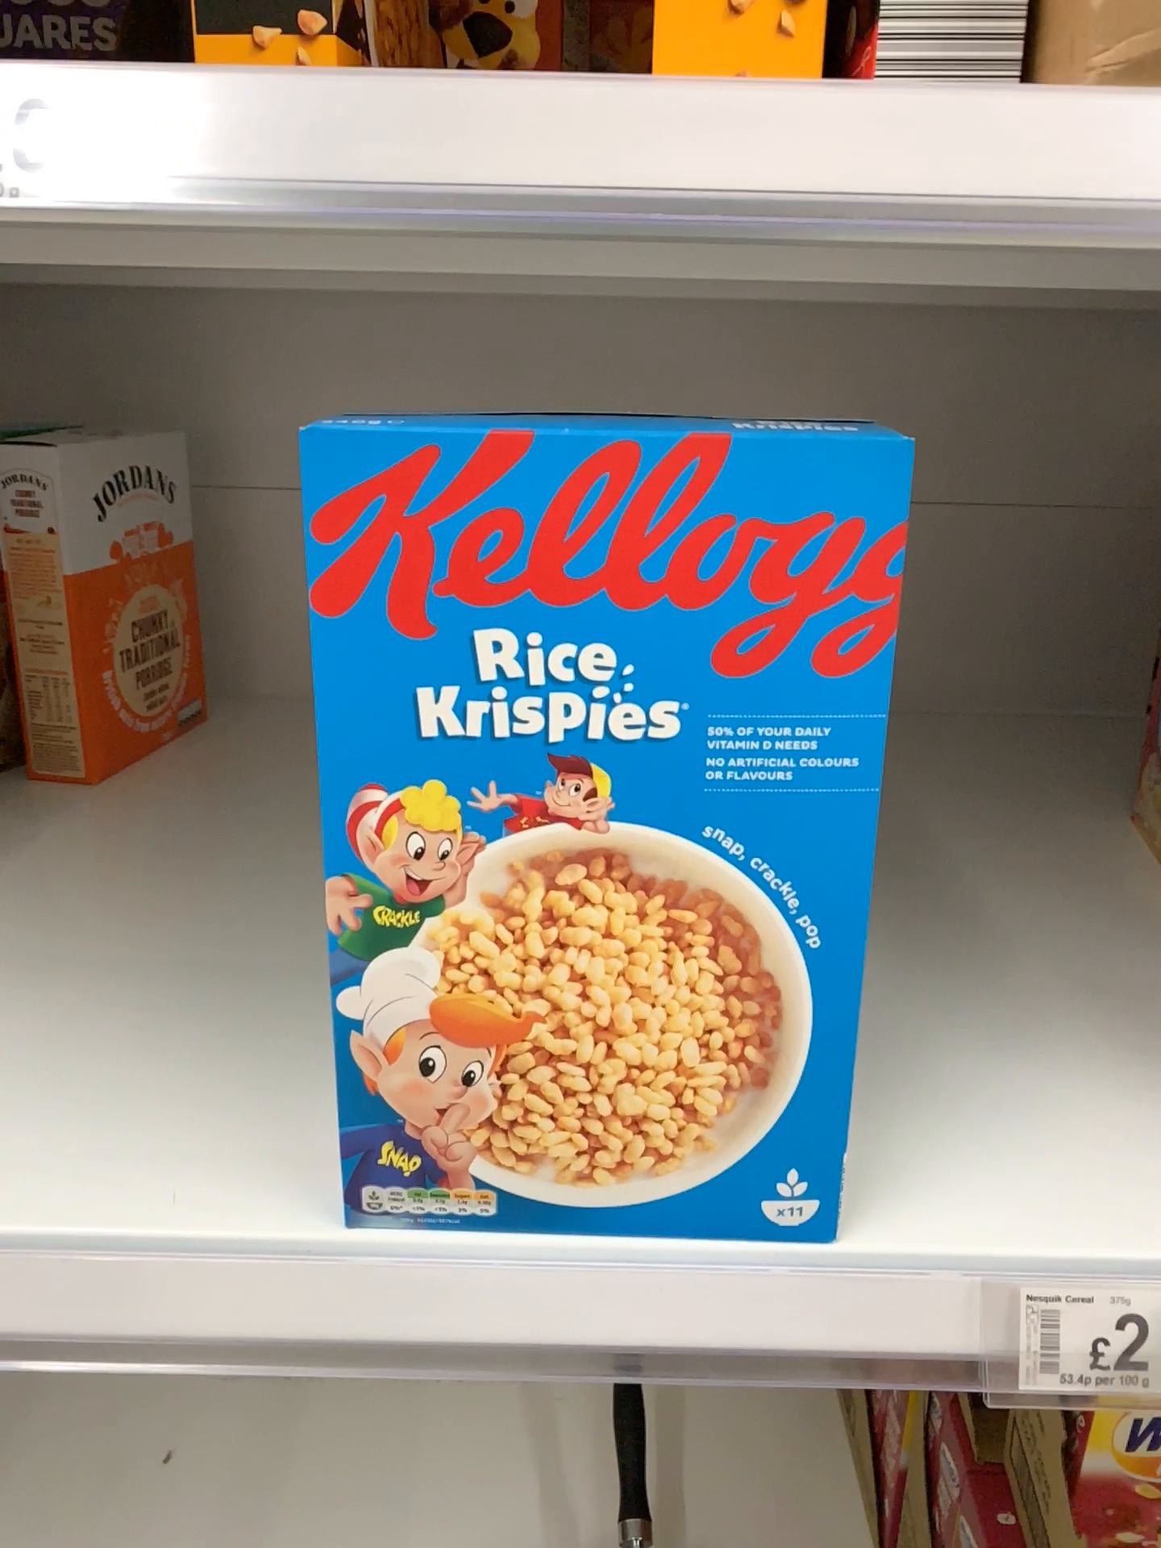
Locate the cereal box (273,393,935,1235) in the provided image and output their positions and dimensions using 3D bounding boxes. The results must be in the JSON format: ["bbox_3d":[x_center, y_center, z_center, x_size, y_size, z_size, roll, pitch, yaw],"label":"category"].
[{"bbox_3d":[0.004,0.019,0.441,0.200,0.298,0.070,2,18,1],"label":"cereal box"}]
